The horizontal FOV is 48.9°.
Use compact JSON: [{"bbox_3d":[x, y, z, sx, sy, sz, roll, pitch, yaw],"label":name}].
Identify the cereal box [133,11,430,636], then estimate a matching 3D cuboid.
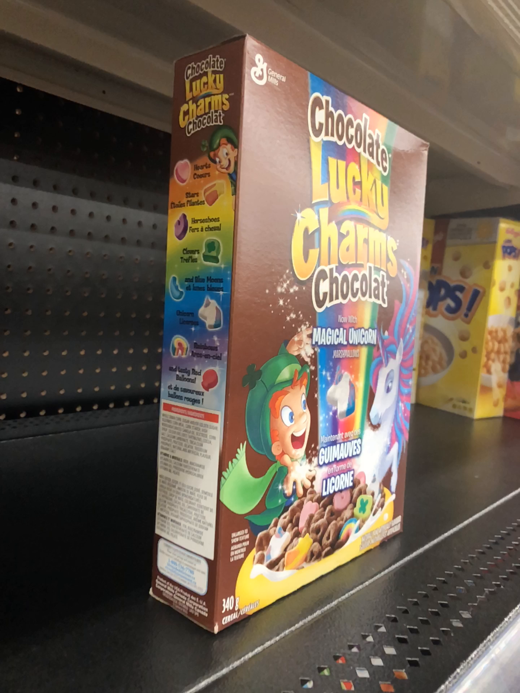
[{"bbox_3d":[0.026,-0.011,0.359,0.060,0.290,0.200,4,3,42],"label":"cereal box"}]
